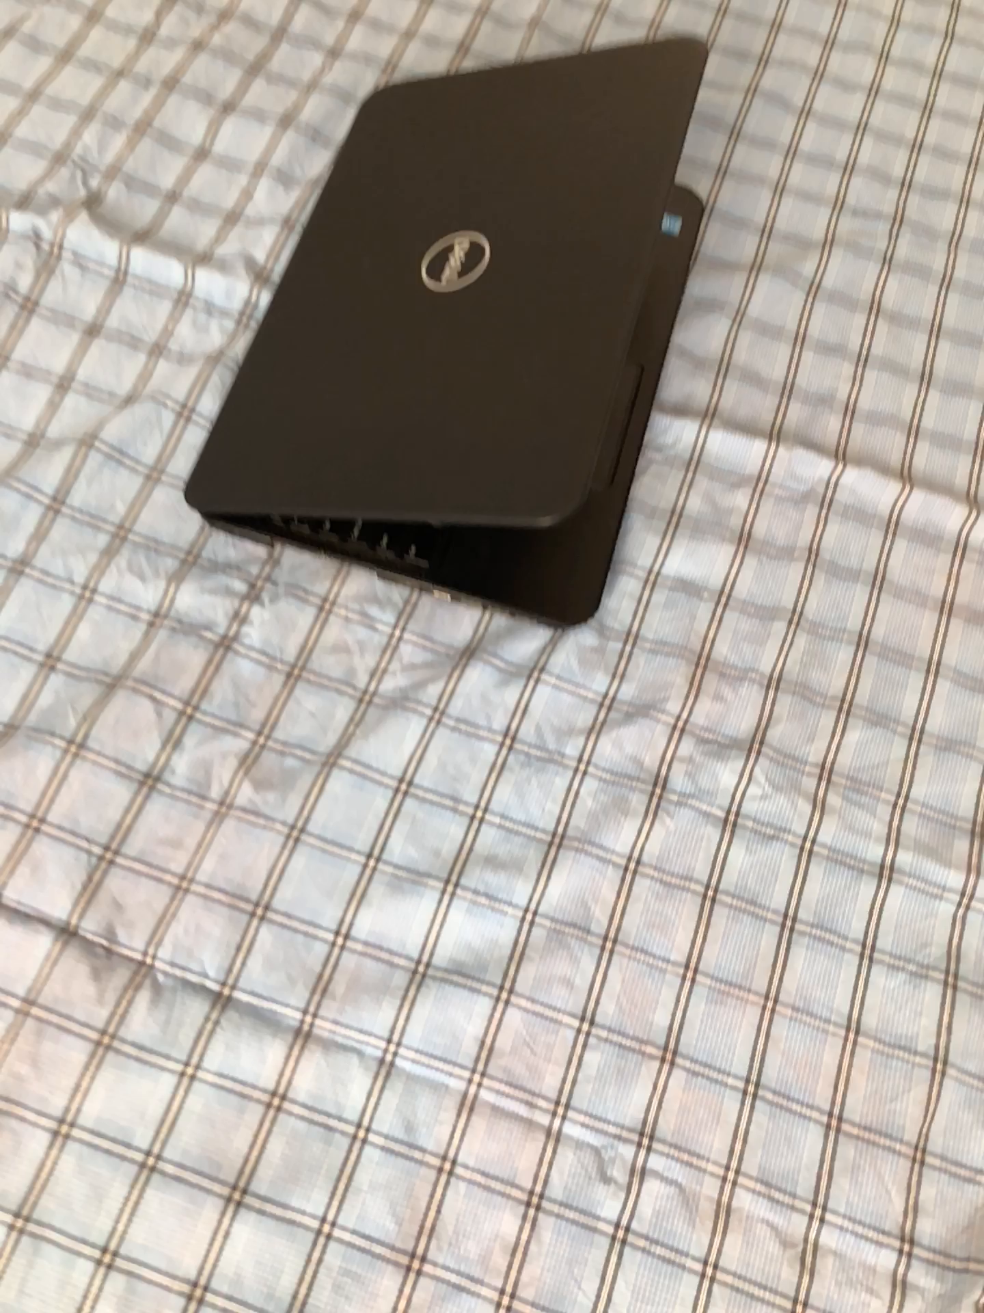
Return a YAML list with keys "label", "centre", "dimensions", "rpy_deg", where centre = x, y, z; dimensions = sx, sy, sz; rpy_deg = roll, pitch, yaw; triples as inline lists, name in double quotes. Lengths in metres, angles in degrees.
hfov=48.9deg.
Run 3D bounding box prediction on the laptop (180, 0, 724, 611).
- label: "laptop"
  centre: [-0.008, -0.233, 0.652]
  dimensions: [0.223, 0.099, 0.352]
  rpy_deg: [16, 66, 0]
